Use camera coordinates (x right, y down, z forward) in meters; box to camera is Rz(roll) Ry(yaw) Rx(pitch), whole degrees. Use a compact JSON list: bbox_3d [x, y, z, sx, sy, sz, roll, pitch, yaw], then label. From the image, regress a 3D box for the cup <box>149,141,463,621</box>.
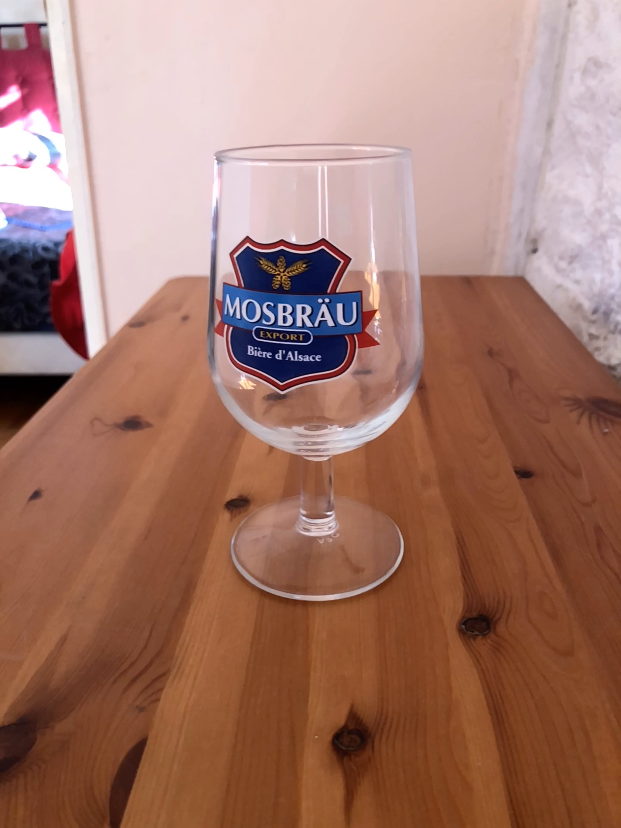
[{"bbox_3d":[0.003,-0.017,0.243,0.079,0.142,0.077,1,24,0],"label":"cup"}]
